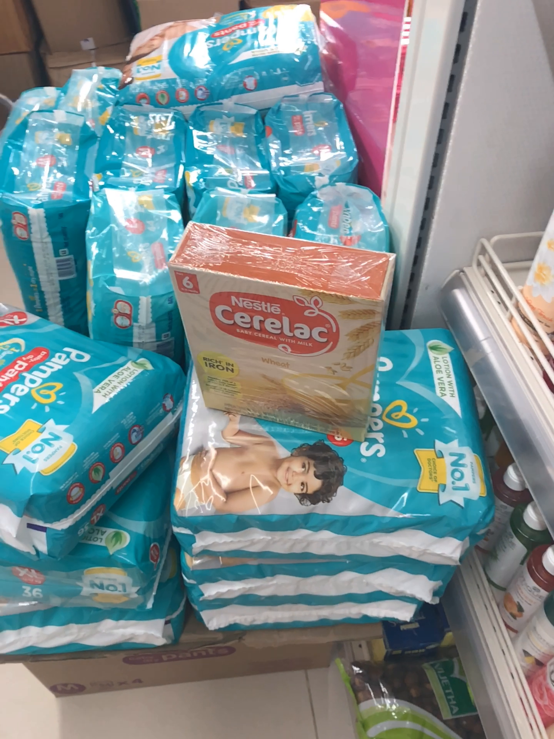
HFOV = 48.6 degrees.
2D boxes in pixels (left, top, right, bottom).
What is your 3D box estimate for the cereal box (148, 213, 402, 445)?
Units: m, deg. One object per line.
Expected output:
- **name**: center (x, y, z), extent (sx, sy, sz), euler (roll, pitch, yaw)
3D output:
- **cereal box**: center (0.003, -0.023, 0.478), extent (0.160, 0.179, 0.050), euler (11, 56, 11)
